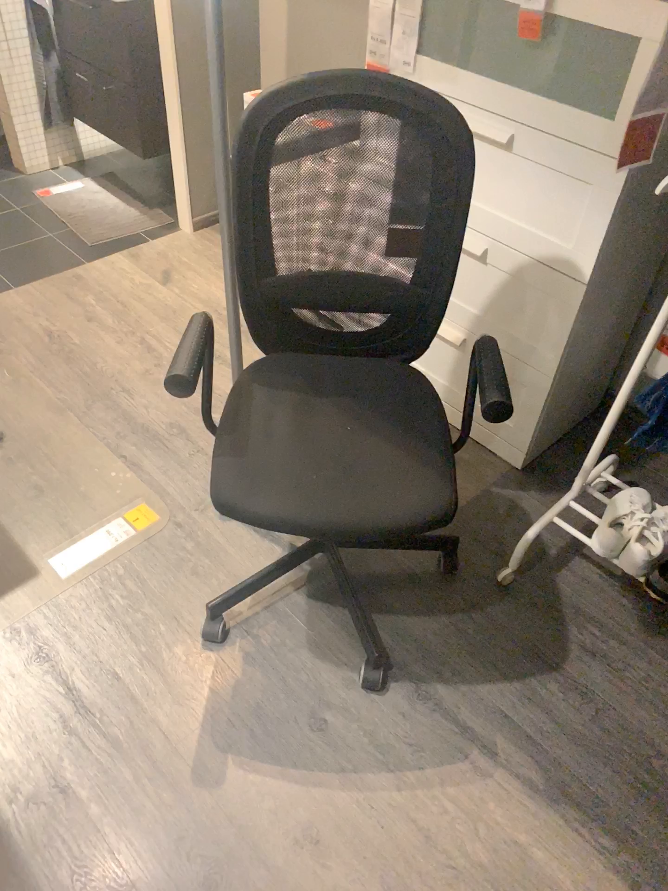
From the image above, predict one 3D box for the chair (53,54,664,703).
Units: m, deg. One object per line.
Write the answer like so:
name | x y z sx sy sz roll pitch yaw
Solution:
chair | 0.019 -0.082 1.294 0.640 0.976 0.683 4 44 0
